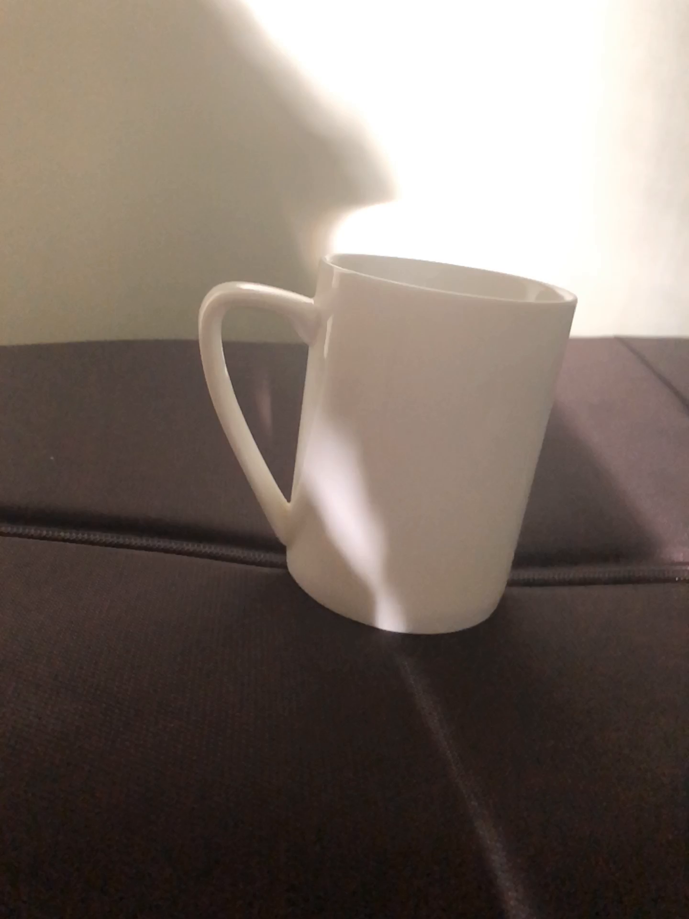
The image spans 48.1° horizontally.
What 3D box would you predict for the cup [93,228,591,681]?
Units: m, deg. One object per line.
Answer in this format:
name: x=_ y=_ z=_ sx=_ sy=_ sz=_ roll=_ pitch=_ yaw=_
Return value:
cup: x=0.002 y=-0.013 z=0.229 sx=0.108 sy=0.090 sz=0.097 roll=12 pitch=18 yaw=8
